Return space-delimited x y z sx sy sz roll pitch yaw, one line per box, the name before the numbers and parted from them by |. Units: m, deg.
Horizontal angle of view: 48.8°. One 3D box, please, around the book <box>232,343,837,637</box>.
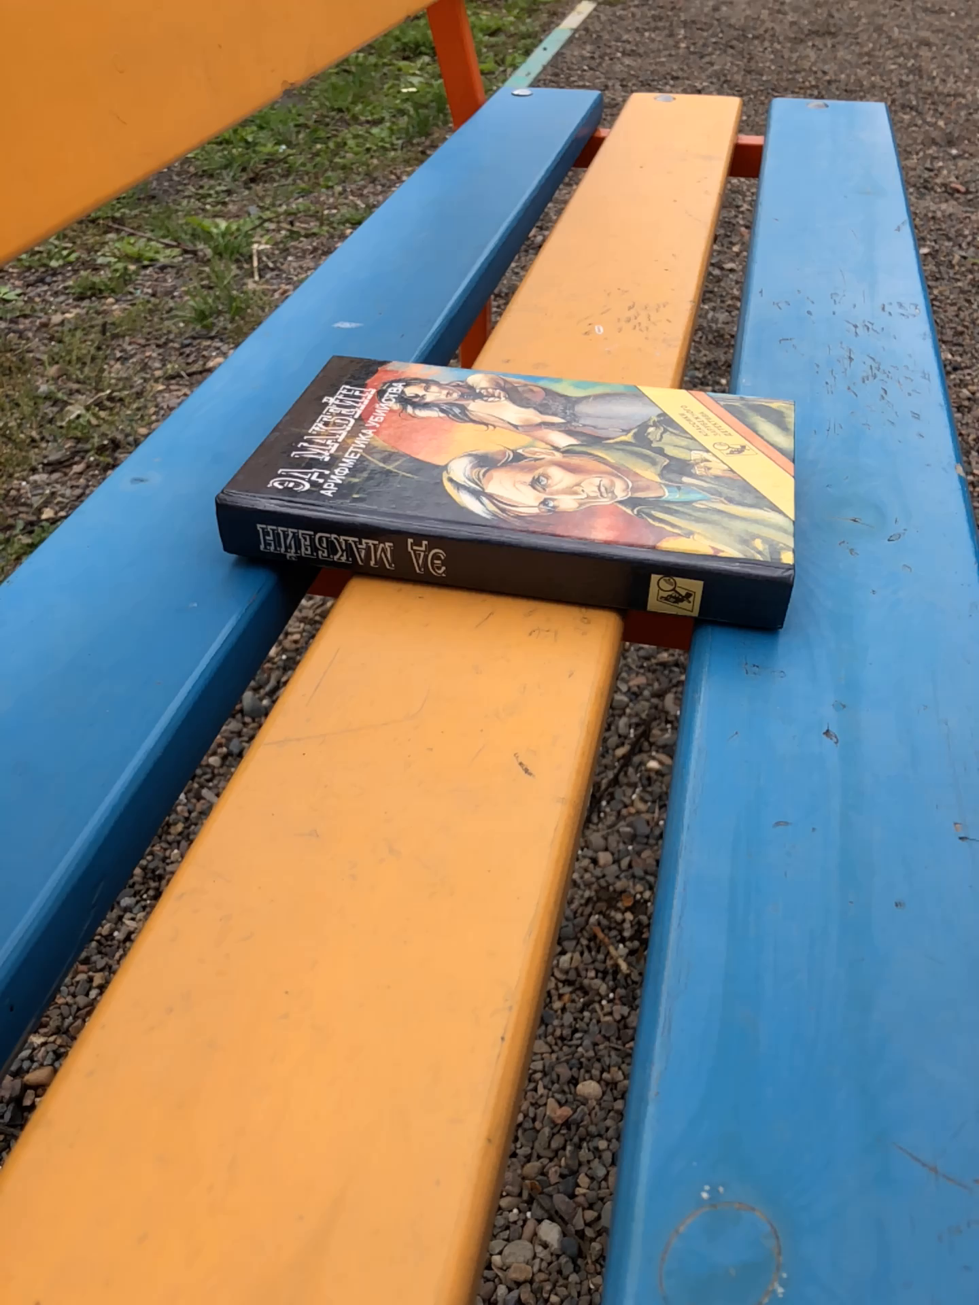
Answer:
book | 0.024 -0.073 0.431 0.210 0.030 0.136 8 39 8
